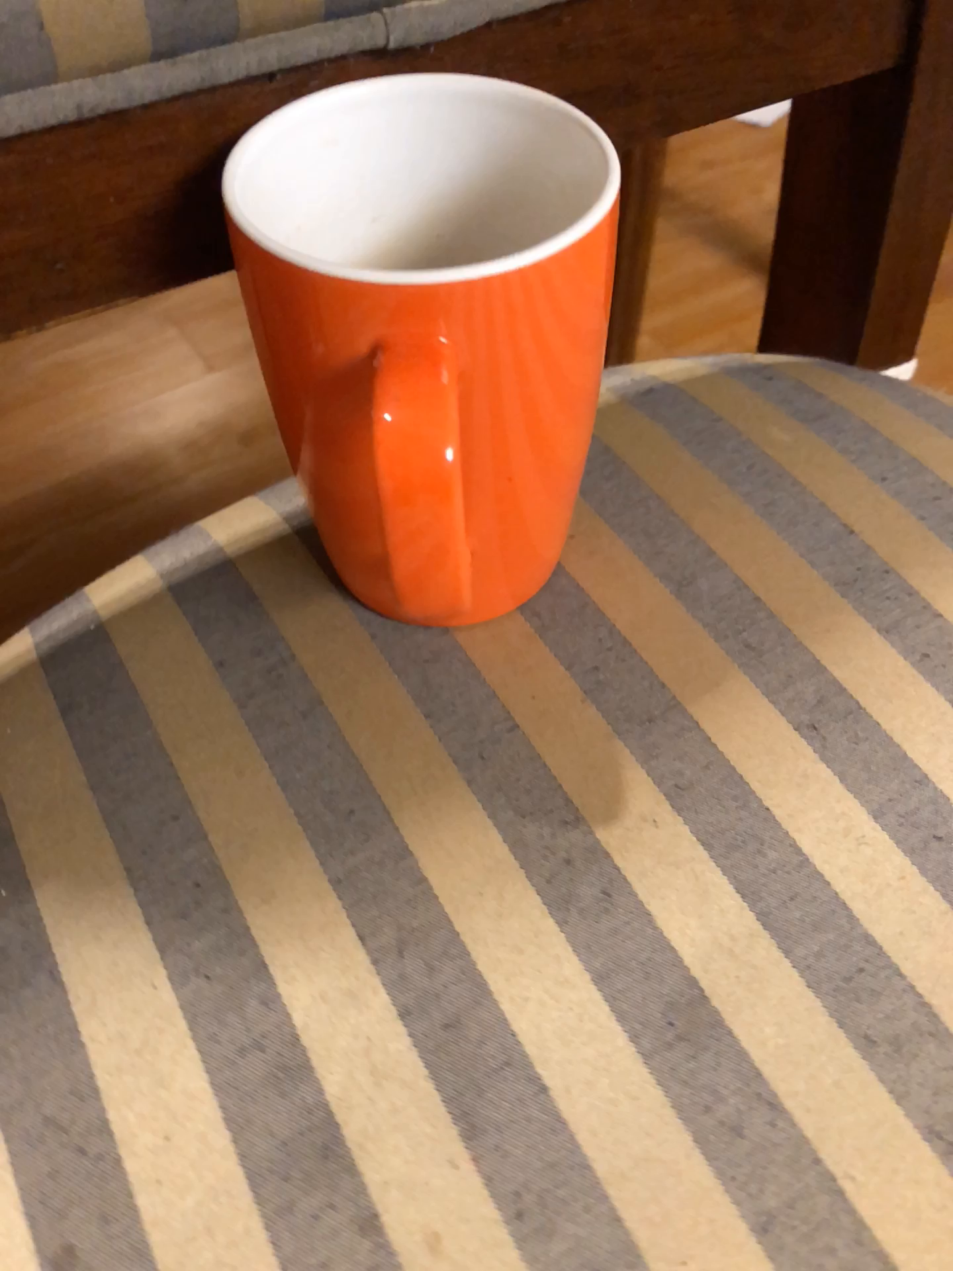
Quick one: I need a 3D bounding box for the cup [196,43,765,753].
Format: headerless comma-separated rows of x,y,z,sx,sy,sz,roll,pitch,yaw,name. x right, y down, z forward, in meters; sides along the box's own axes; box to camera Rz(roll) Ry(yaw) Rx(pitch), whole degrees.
-0.005,-0.055,0.242,0.090,0.099,0.121,-5,52,-3,cup
